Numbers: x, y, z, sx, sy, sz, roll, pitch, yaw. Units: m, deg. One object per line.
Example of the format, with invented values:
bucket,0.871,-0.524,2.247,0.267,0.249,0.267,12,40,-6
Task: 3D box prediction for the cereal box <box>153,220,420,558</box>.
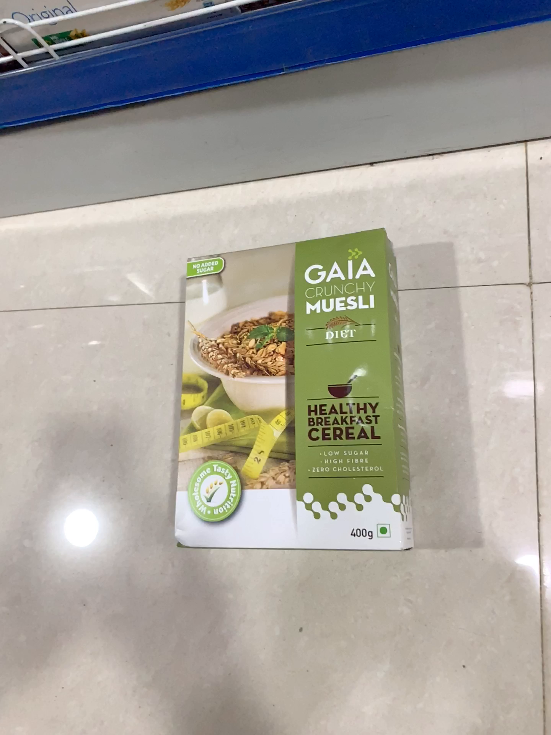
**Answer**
cereal box,0.006,0.022,0.437,0.180,0.070,0.230,-6,75,19
